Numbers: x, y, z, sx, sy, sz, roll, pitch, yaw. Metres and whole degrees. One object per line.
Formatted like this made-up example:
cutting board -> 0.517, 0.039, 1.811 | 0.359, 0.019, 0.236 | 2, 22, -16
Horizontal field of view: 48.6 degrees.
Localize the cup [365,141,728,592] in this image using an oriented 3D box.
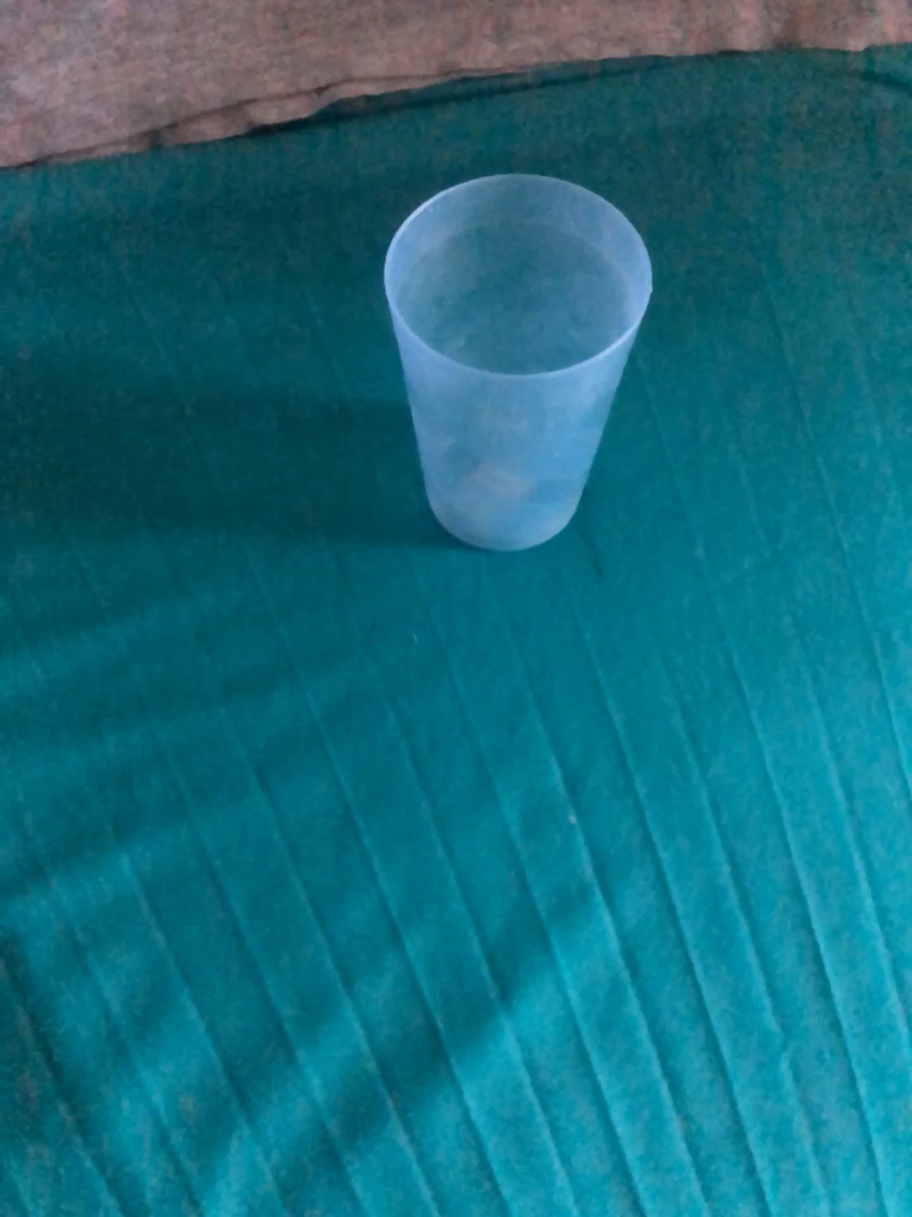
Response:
cup -> 0.019, -0.064, 0.304 | 0.078, 0.119, 0.066 | -8, 68, -5
